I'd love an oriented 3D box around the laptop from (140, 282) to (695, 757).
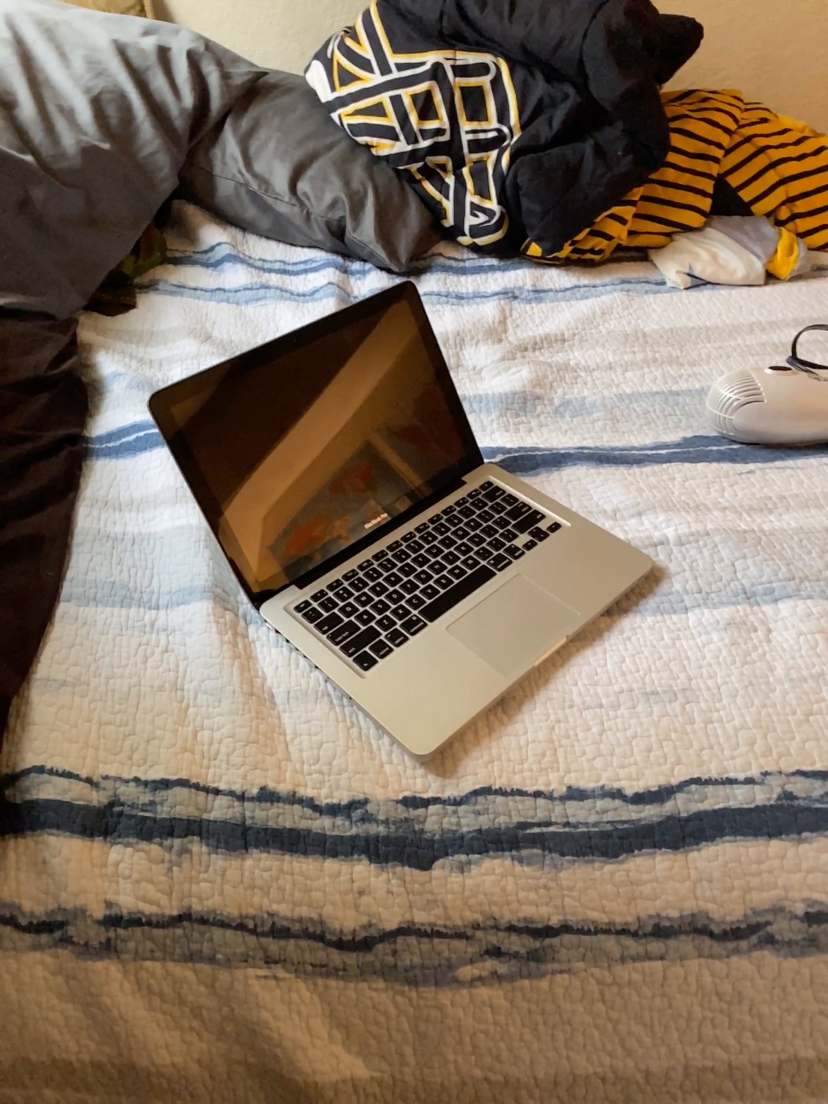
[{"bbox_3d":[0.001,-0.061,0.777,0.321,0.165,0.346,-34,55,-31],"label":"laptop"}]
